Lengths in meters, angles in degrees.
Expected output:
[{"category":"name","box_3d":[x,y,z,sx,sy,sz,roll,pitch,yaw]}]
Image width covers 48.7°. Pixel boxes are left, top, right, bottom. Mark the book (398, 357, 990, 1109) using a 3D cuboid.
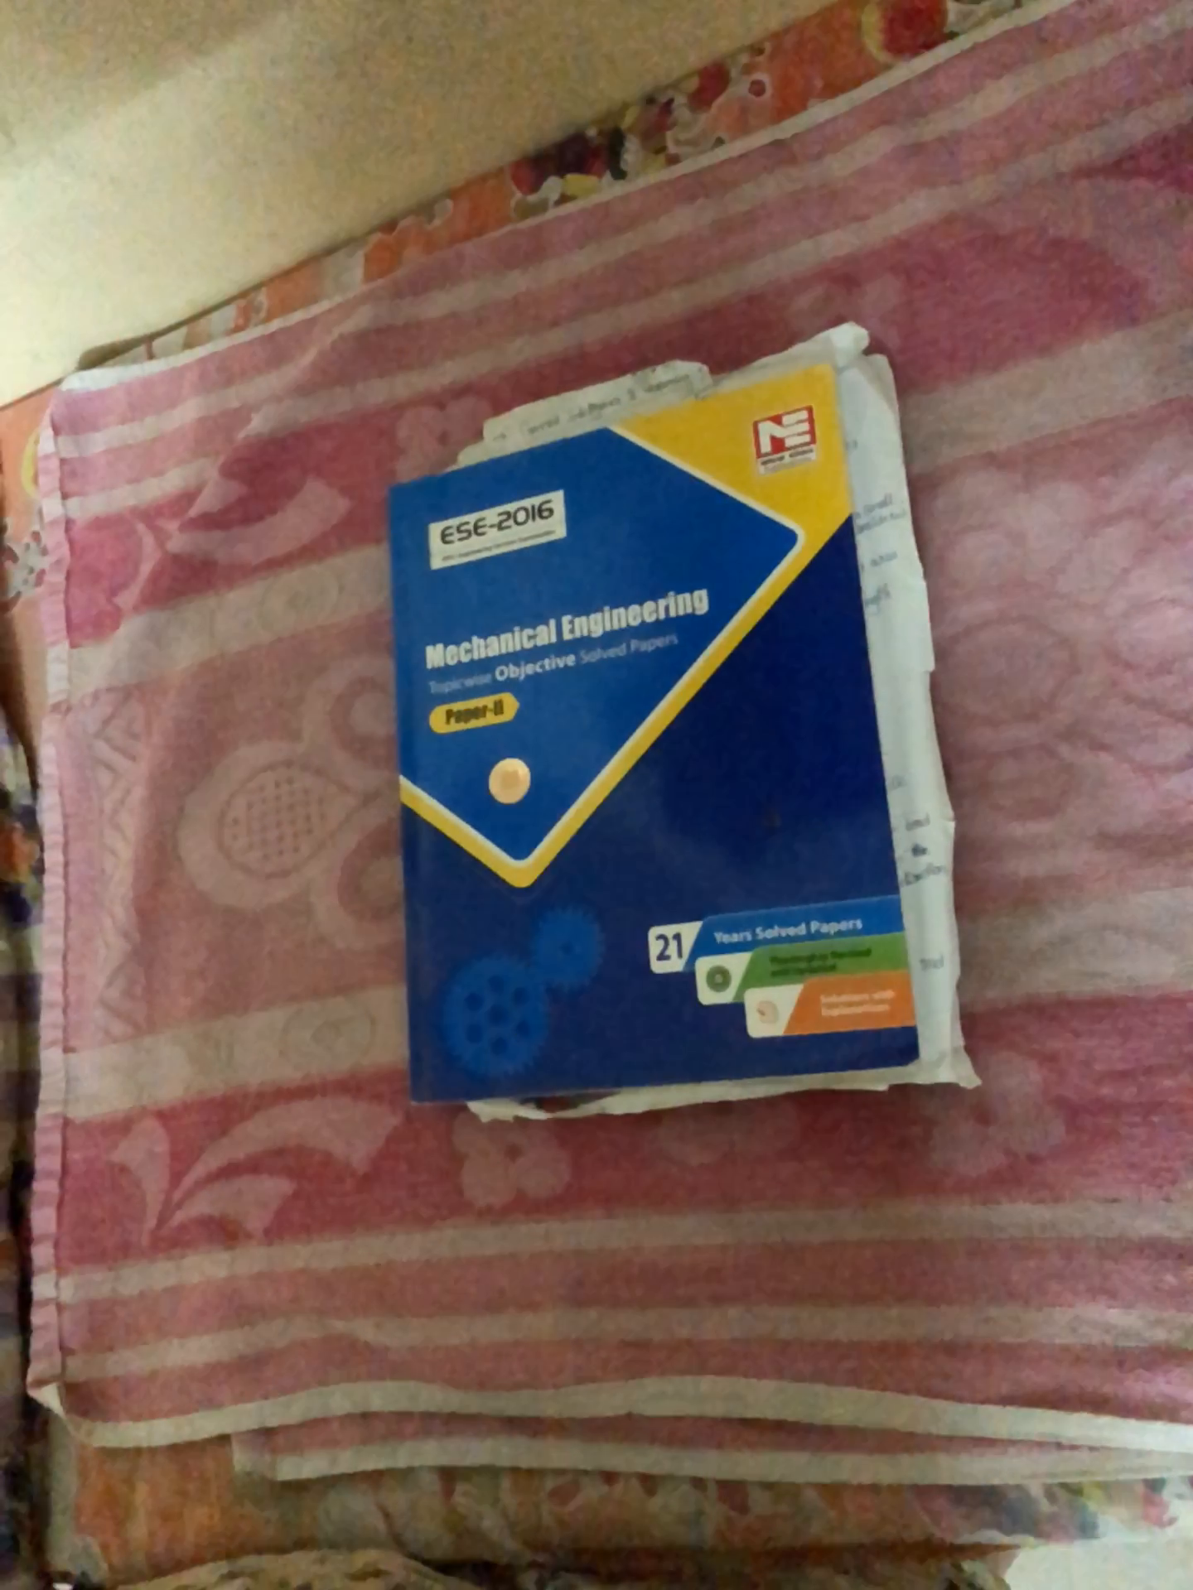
[{"category":"book","box_3d":[0.030,-0.016,0.546,0.215,0.055,0.270,-9,77,23]}]
